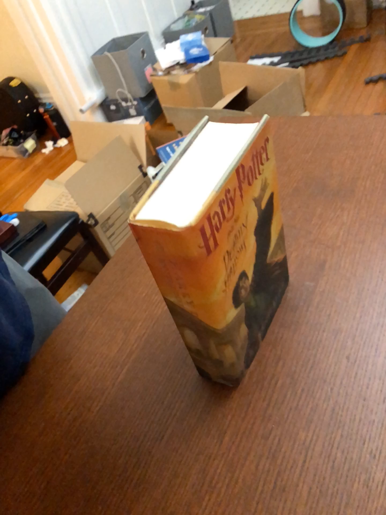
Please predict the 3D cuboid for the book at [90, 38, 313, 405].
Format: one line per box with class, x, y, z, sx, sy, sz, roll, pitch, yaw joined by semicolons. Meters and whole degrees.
book;0.046;-0.023;0.436;0.070;0.298;0.211;12;51;30
